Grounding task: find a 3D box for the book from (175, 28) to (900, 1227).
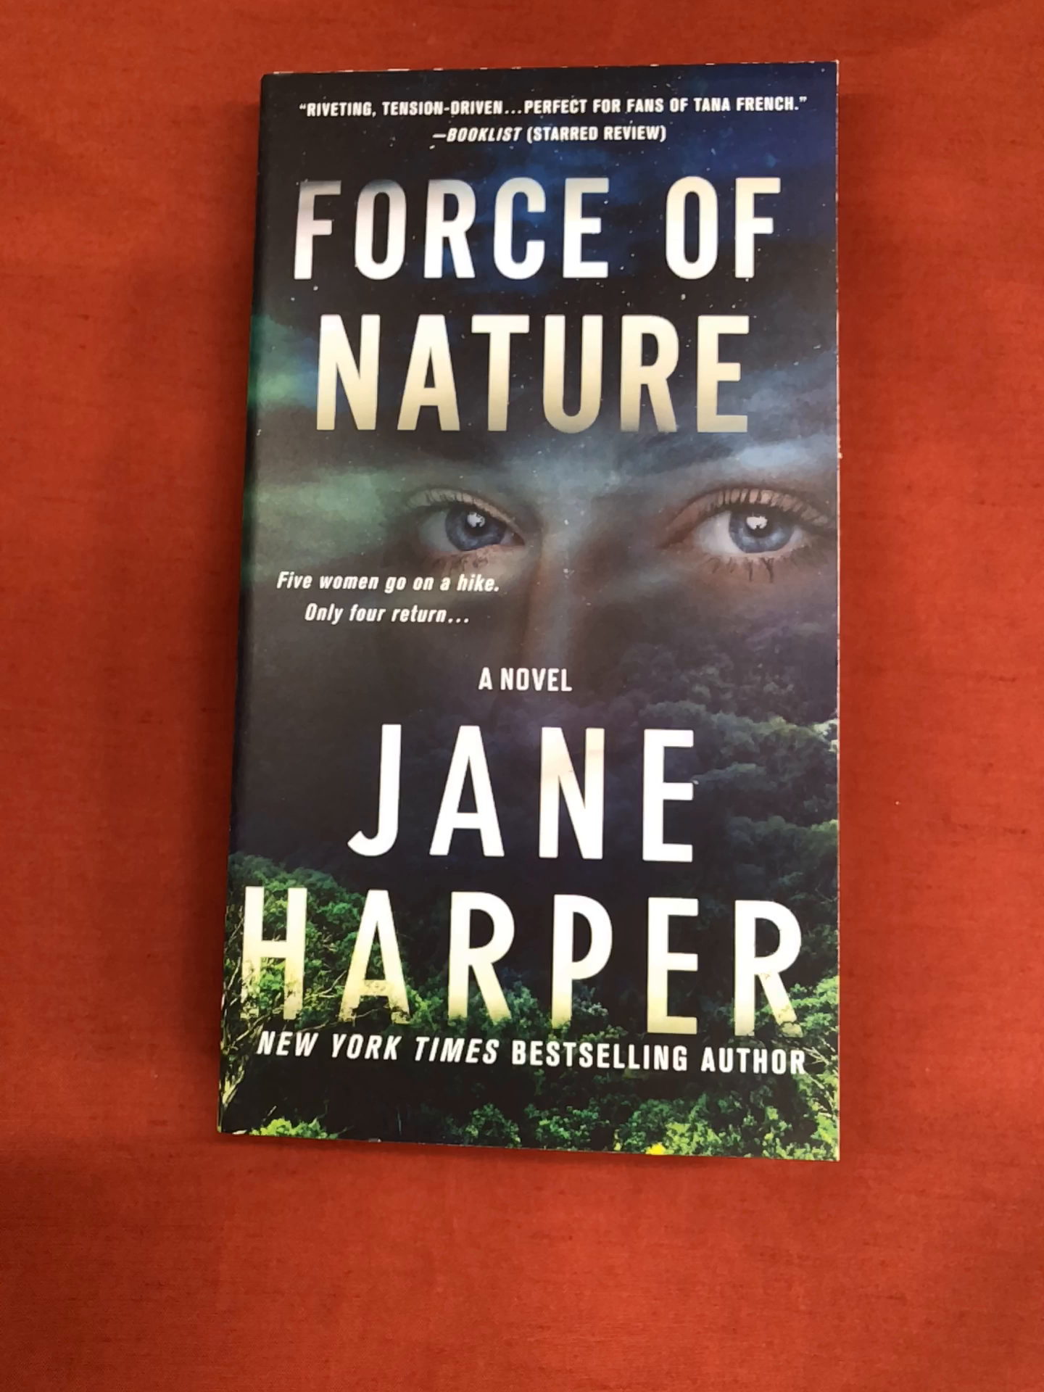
[{"bbox_3d":[0.003,-0.010,0.203,0.110,0.050,0.180,0,91,3],"label":"book"}]
